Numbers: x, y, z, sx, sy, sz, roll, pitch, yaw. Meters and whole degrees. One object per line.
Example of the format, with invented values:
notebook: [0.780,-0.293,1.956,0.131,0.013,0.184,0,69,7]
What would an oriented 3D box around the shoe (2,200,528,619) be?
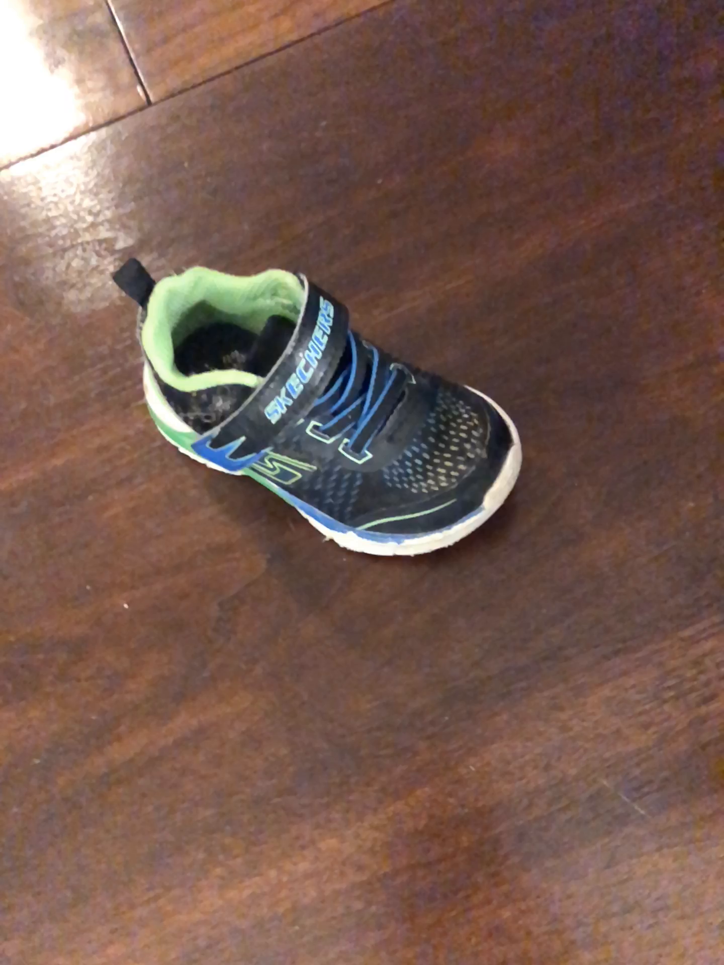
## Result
shoe: [-0.033,-0.028,0.316,0.170,0.080,0.080,25,74,16]
